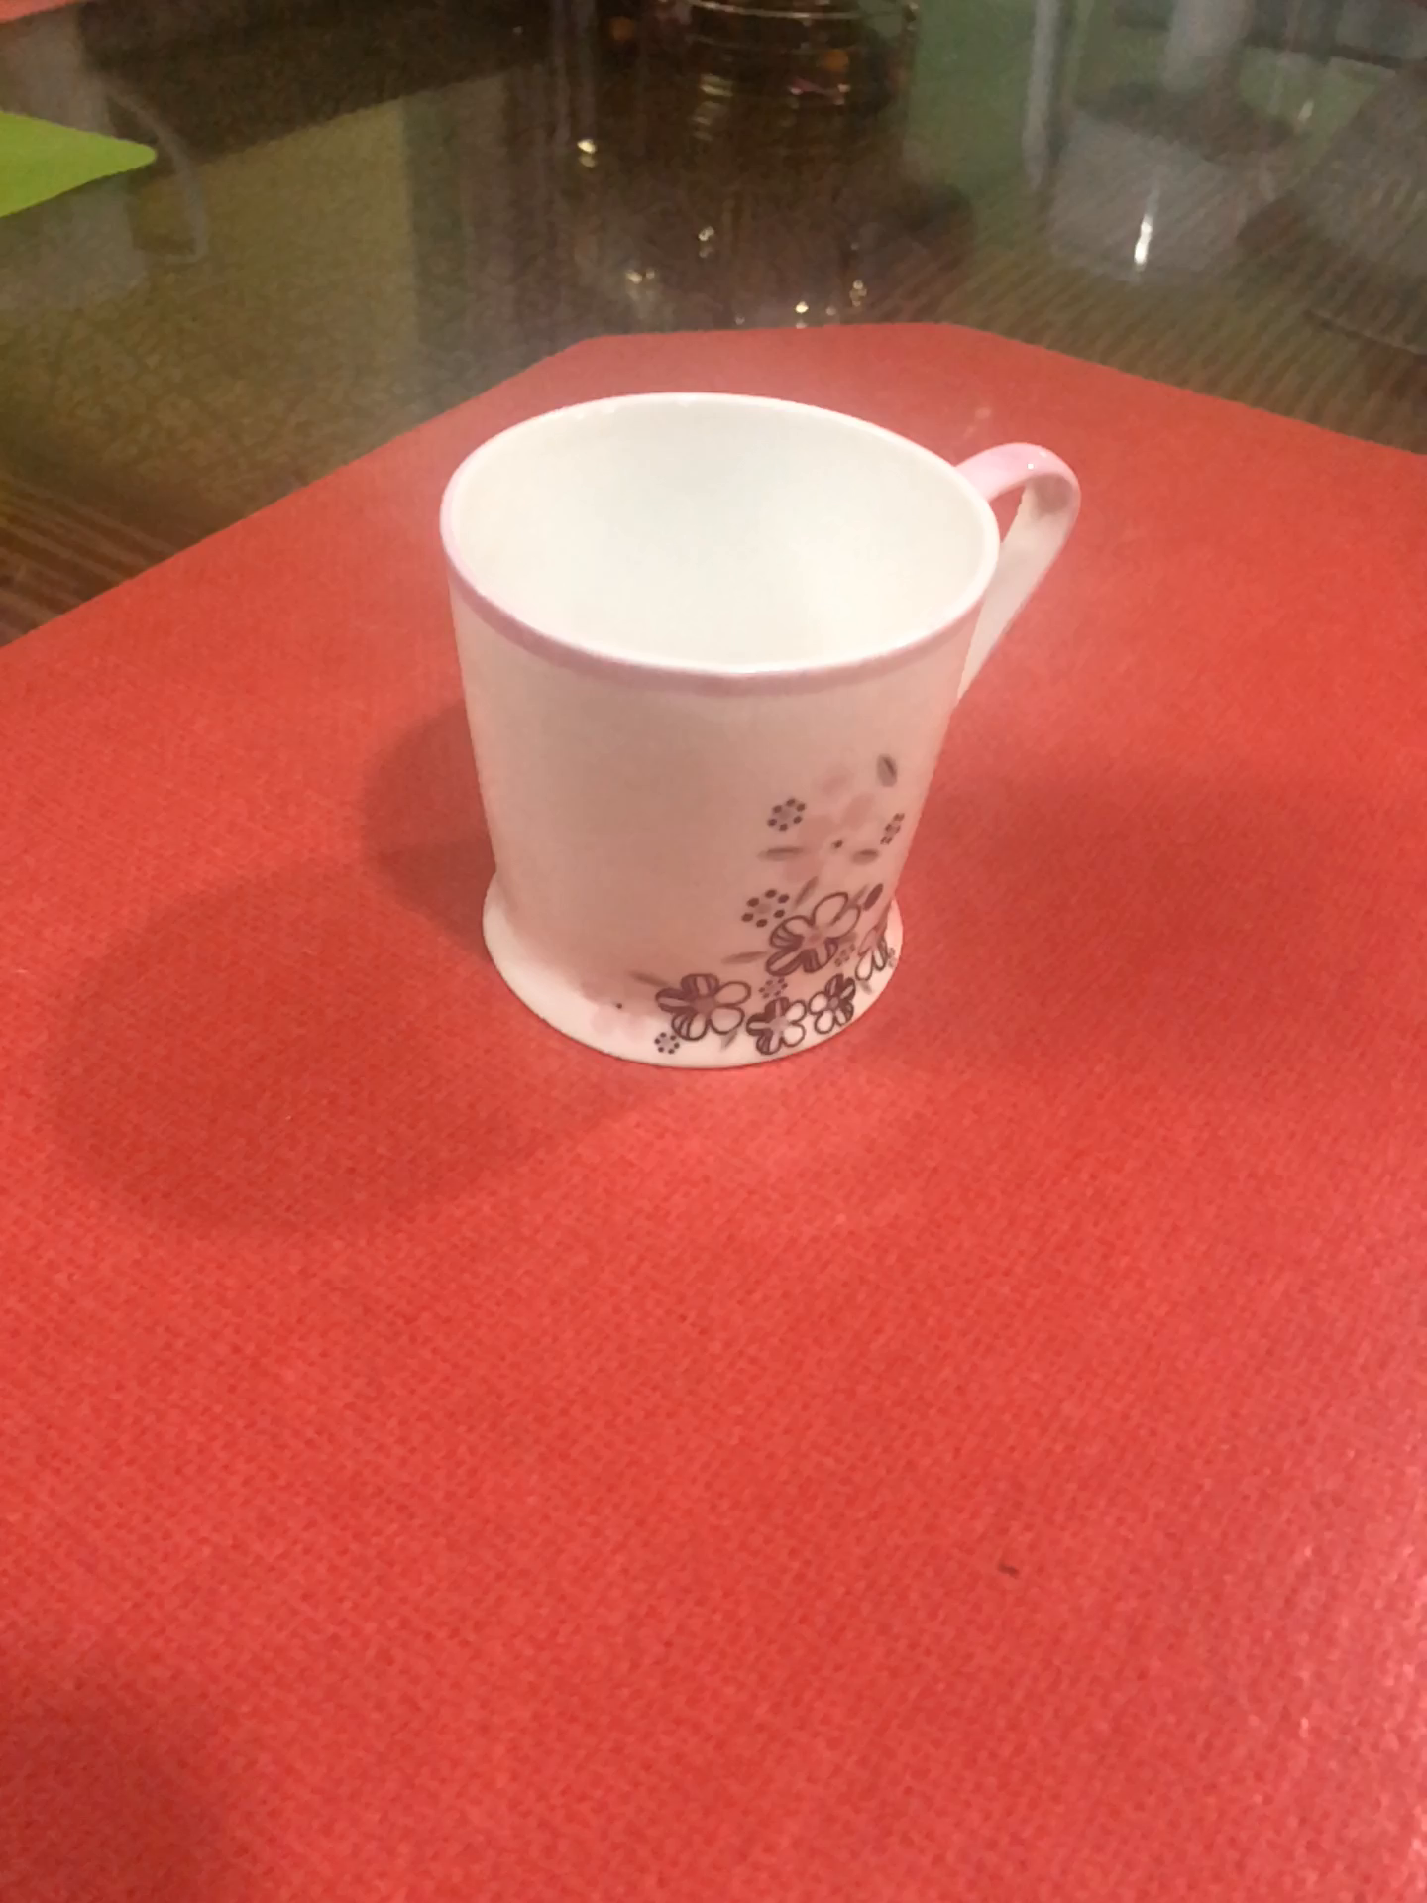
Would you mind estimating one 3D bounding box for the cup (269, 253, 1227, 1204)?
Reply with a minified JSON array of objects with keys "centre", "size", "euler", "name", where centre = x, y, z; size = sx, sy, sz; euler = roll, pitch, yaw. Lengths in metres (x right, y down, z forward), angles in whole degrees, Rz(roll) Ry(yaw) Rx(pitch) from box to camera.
[{"centre":[0.005,-0.037,0.227],"size":[0.070,0.080,0.100],"euler":[35,51,30],"name":"cup"}]
